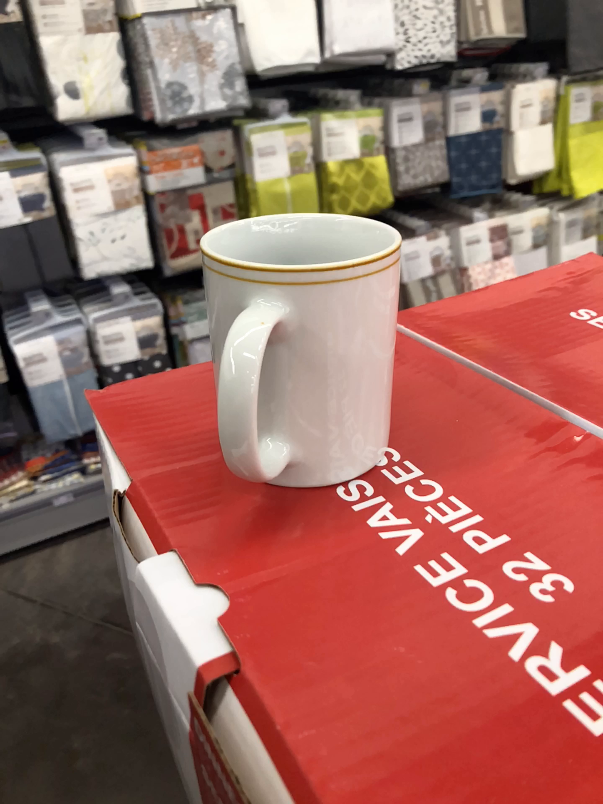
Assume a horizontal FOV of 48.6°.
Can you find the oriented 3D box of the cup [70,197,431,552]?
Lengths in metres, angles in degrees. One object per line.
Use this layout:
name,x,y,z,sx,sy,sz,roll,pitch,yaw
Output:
cup,-0.008,-0.022,0.274,0.096,0.091,0.116,8,33,20
